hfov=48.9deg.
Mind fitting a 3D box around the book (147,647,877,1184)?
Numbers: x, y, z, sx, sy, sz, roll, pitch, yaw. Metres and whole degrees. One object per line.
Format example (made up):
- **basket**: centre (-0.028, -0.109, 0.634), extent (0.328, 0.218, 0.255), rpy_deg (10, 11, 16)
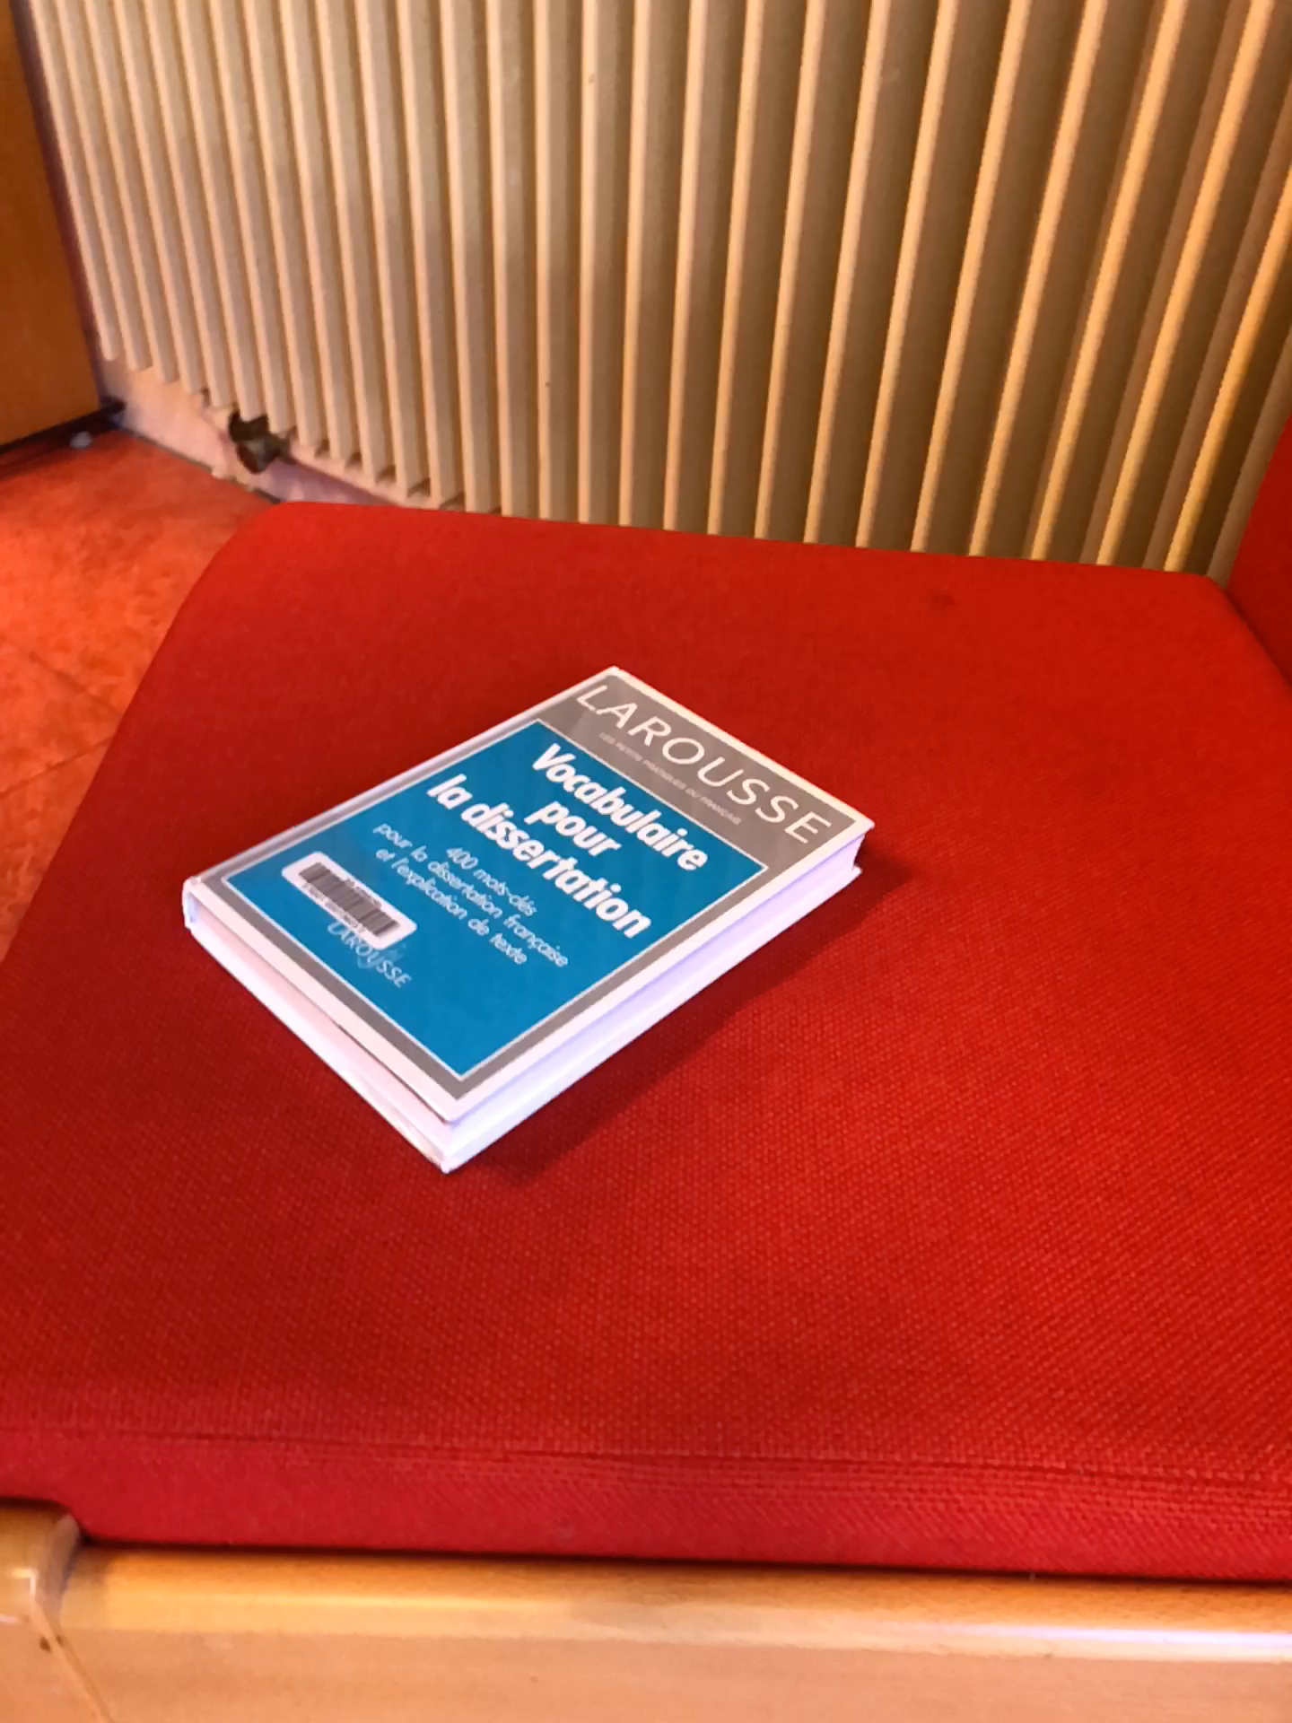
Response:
- **book**: centre (-0.039, 0.002, 0.478), extent (0.137, 0.030, 0.199), rpy_deg (33, 48, 30)
